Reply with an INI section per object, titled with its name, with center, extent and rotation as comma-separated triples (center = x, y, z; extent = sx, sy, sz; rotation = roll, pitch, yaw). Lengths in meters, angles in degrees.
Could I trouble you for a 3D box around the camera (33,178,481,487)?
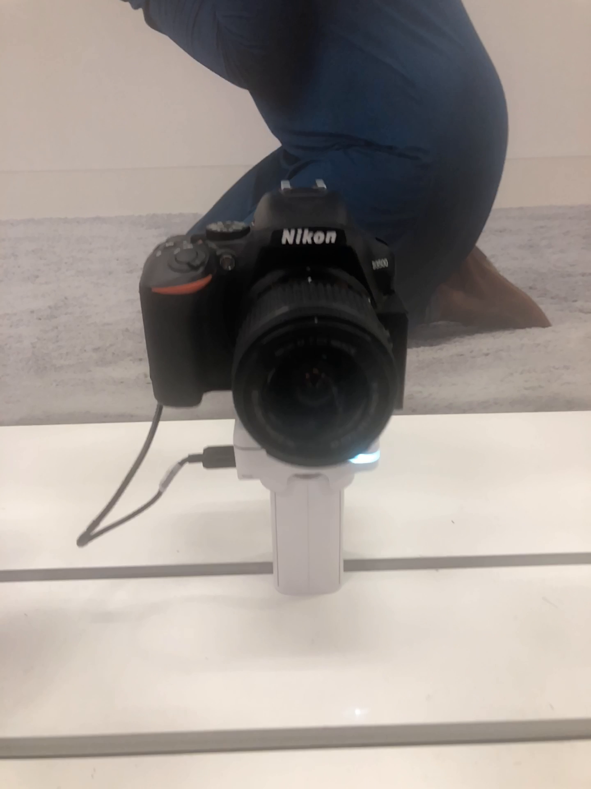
[camera]
center = -0.011, -0.035, 0.282
extent = 0.140, 0.090, 0.131
rotation = 0, 27, 1
